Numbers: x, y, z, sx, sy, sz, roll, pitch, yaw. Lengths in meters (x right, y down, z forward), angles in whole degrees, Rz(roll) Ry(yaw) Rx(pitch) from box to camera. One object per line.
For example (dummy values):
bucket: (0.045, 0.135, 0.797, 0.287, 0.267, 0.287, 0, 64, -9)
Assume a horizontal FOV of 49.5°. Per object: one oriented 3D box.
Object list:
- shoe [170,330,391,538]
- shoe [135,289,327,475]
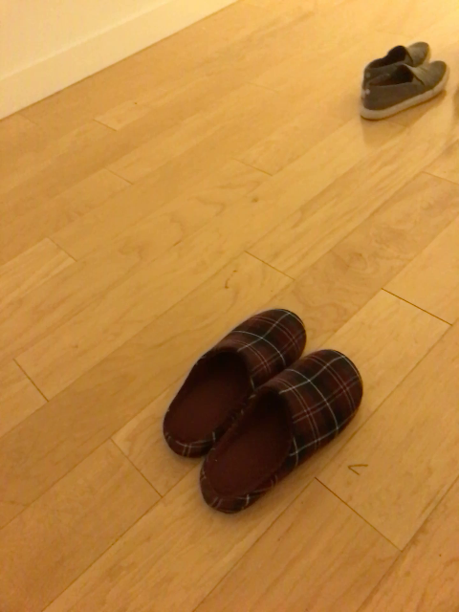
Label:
shoe: (0.069, 0.150, 0.640, 0.271, 0.030, 0.120, -36, 51, -20)
shoe: (0.009, 0.093, 0.704, 0.120, 0.030, 0.271, 29, 60, 33)
